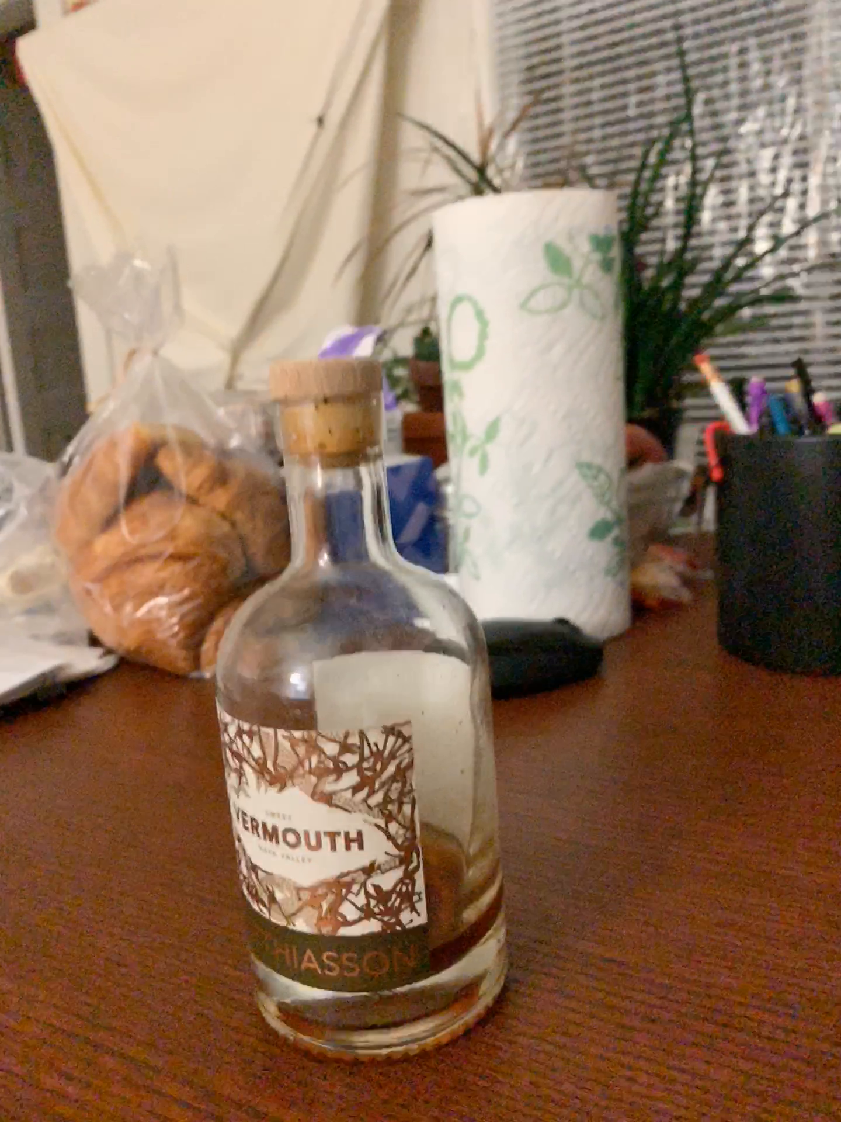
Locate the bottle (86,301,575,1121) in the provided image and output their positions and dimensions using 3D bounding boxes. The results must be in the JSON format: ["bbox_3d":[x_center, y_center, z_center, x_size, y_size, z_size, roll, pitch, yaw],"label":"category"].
[{"bbox_3d":[-0.016,0.032,0.245,0.090,0.189,0.080,2,12,28],"label":"bottle"}]
